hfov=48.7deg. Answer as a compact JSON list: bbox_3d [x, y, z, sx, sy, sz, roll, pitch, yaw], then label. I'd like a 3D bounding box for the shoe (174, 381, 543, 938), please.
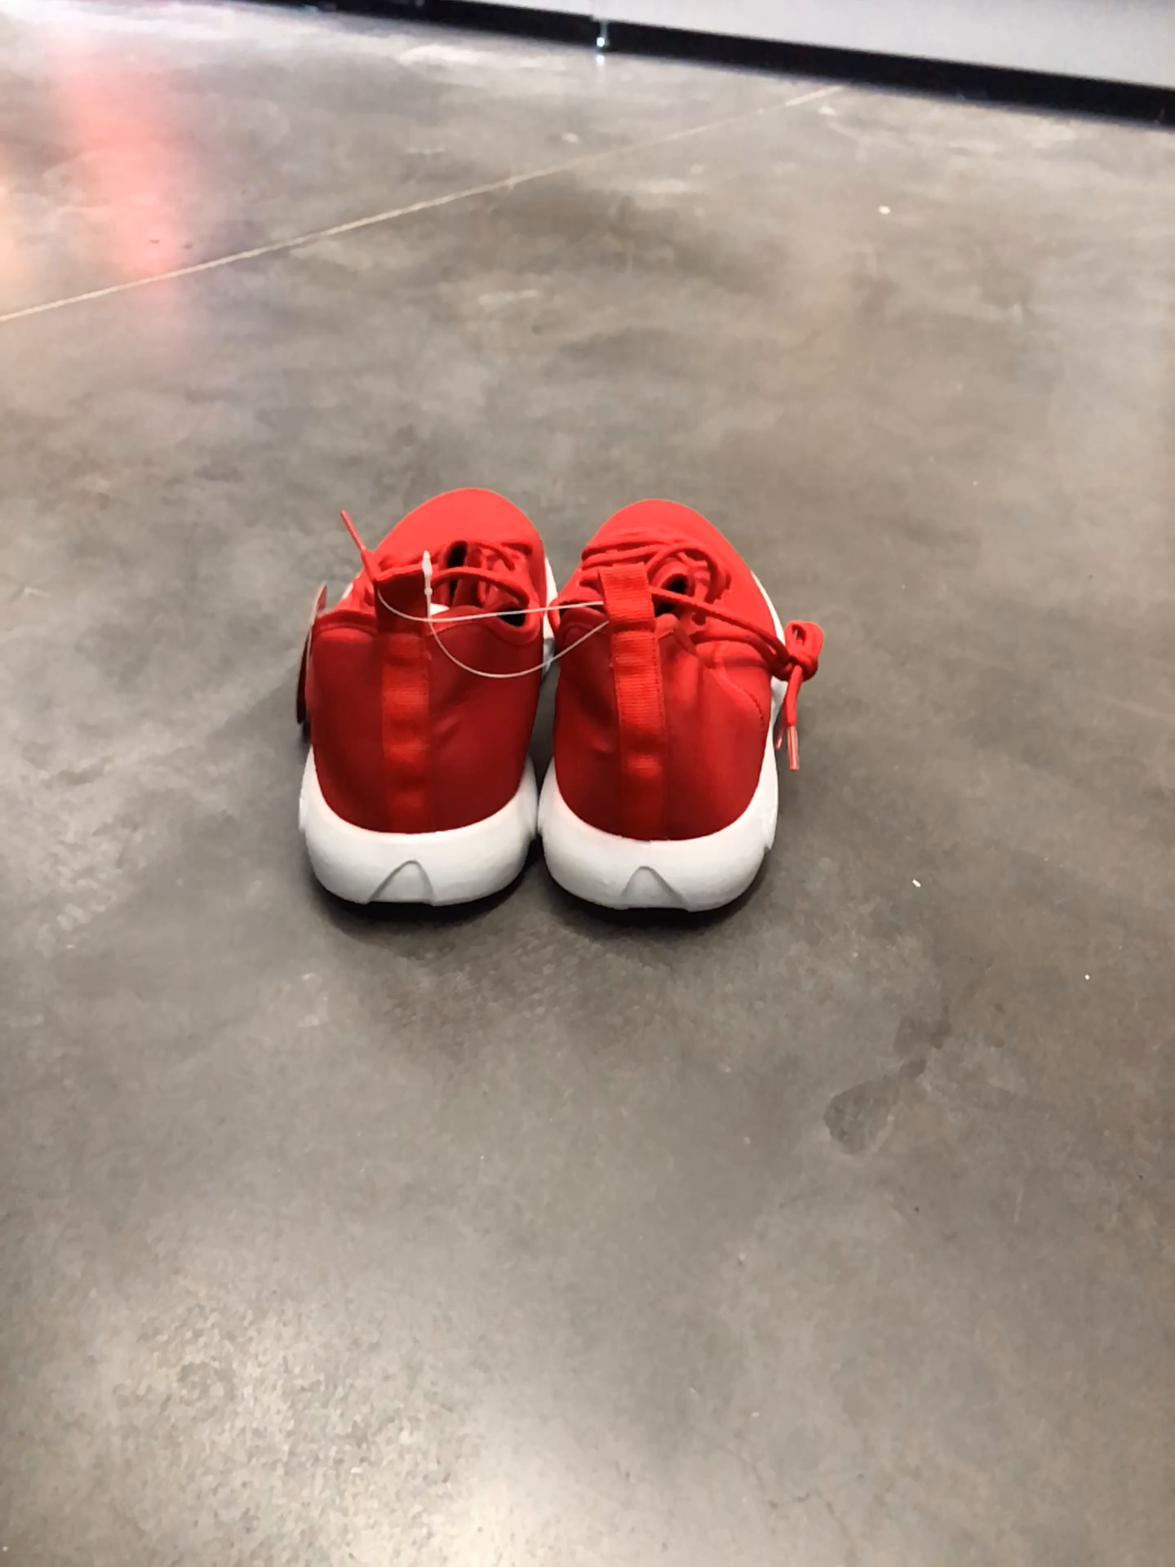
[{"bbox_3d":[-0.071,-0.064,0.507,0.100,0.099,0.251,1,37,-1],"label":"shoe"}]

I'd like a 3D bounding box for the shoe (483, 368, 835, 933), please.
[{"bbox_3d":[0.022,-0.067,0.500,0.100,0.099,0.252,1,37,0],"label":"shoe"}]
